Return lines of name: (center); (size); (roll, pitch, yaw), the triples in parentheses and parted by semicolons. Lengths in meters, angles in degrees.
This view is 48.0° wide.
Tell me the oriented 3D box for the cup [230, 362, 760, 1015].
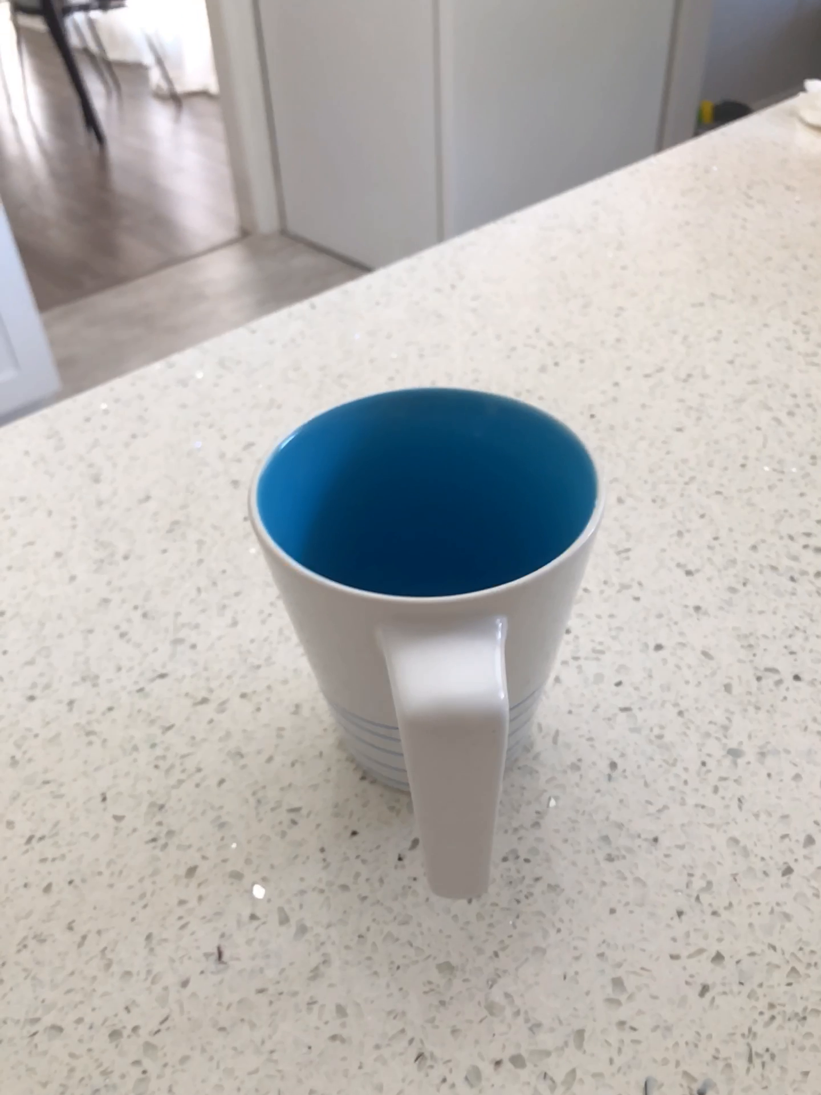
cup: (0.010, 0.027, 0.235); (0.080, 0.090, 0.120); (-13, 40, -11)
